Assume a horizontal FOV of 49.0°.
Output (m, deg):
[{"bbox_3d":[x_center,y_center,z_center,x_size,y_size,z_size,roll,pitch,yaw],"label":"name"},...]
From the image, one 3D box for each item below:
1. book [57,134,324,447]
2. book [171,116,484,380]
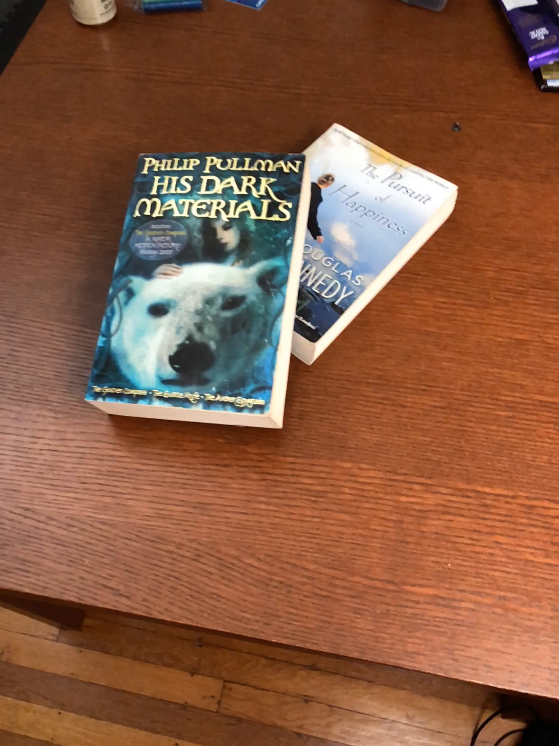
[{"bbox_3d":[-0.062,-0.072,0.499,0.170,0.060,0.241,4,73,8],"label":"book"},{"bbox_3d":[0.047,-0.131,0.580,0.170,0.040,0.240,37,70,26],"label":"book"}]
